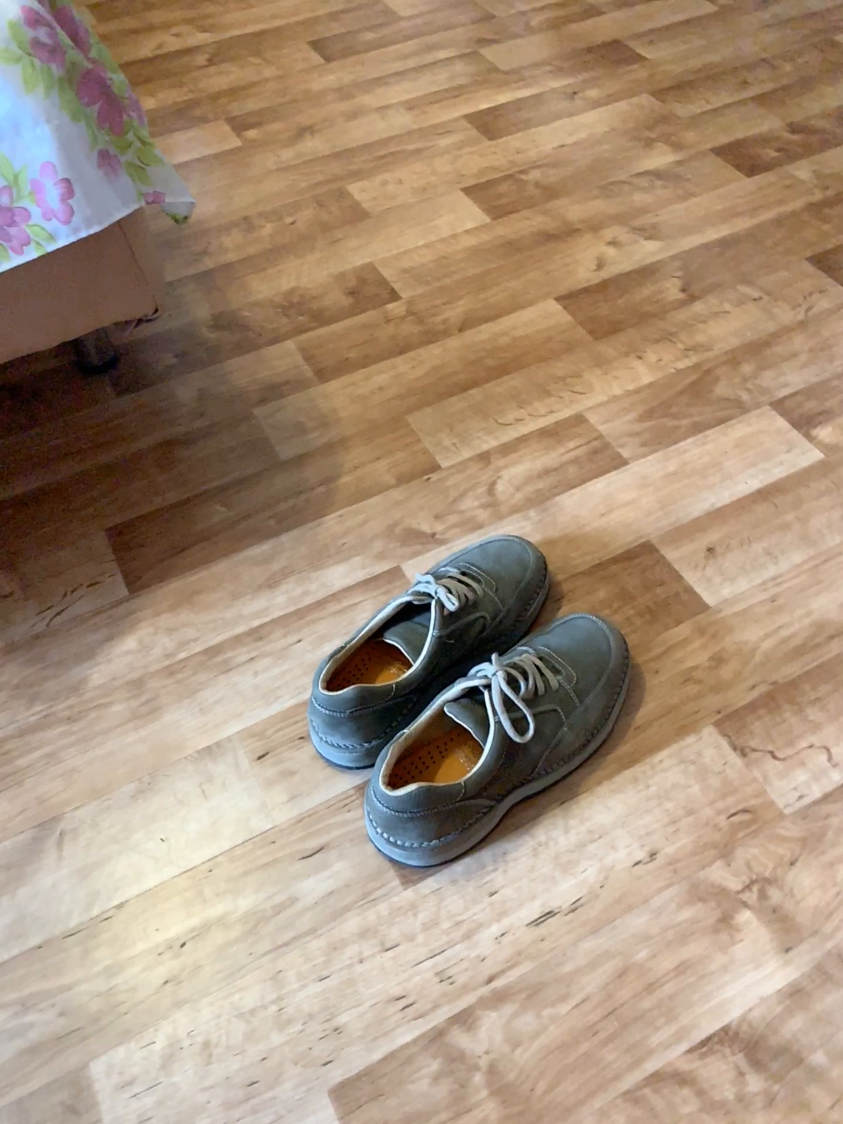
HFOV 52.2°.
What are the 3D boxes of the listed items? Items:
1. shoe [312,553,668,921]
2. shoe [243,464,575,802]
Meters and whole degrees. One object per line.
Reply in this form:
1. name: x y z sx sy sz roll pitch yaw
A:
1. shoe: 0.064 0.144 0.746 0.290 0.120 0.120 -38 60 -23
2. shoe: -0.002 0.057 0.789 0.120 0.110 0.290 37 63 26
